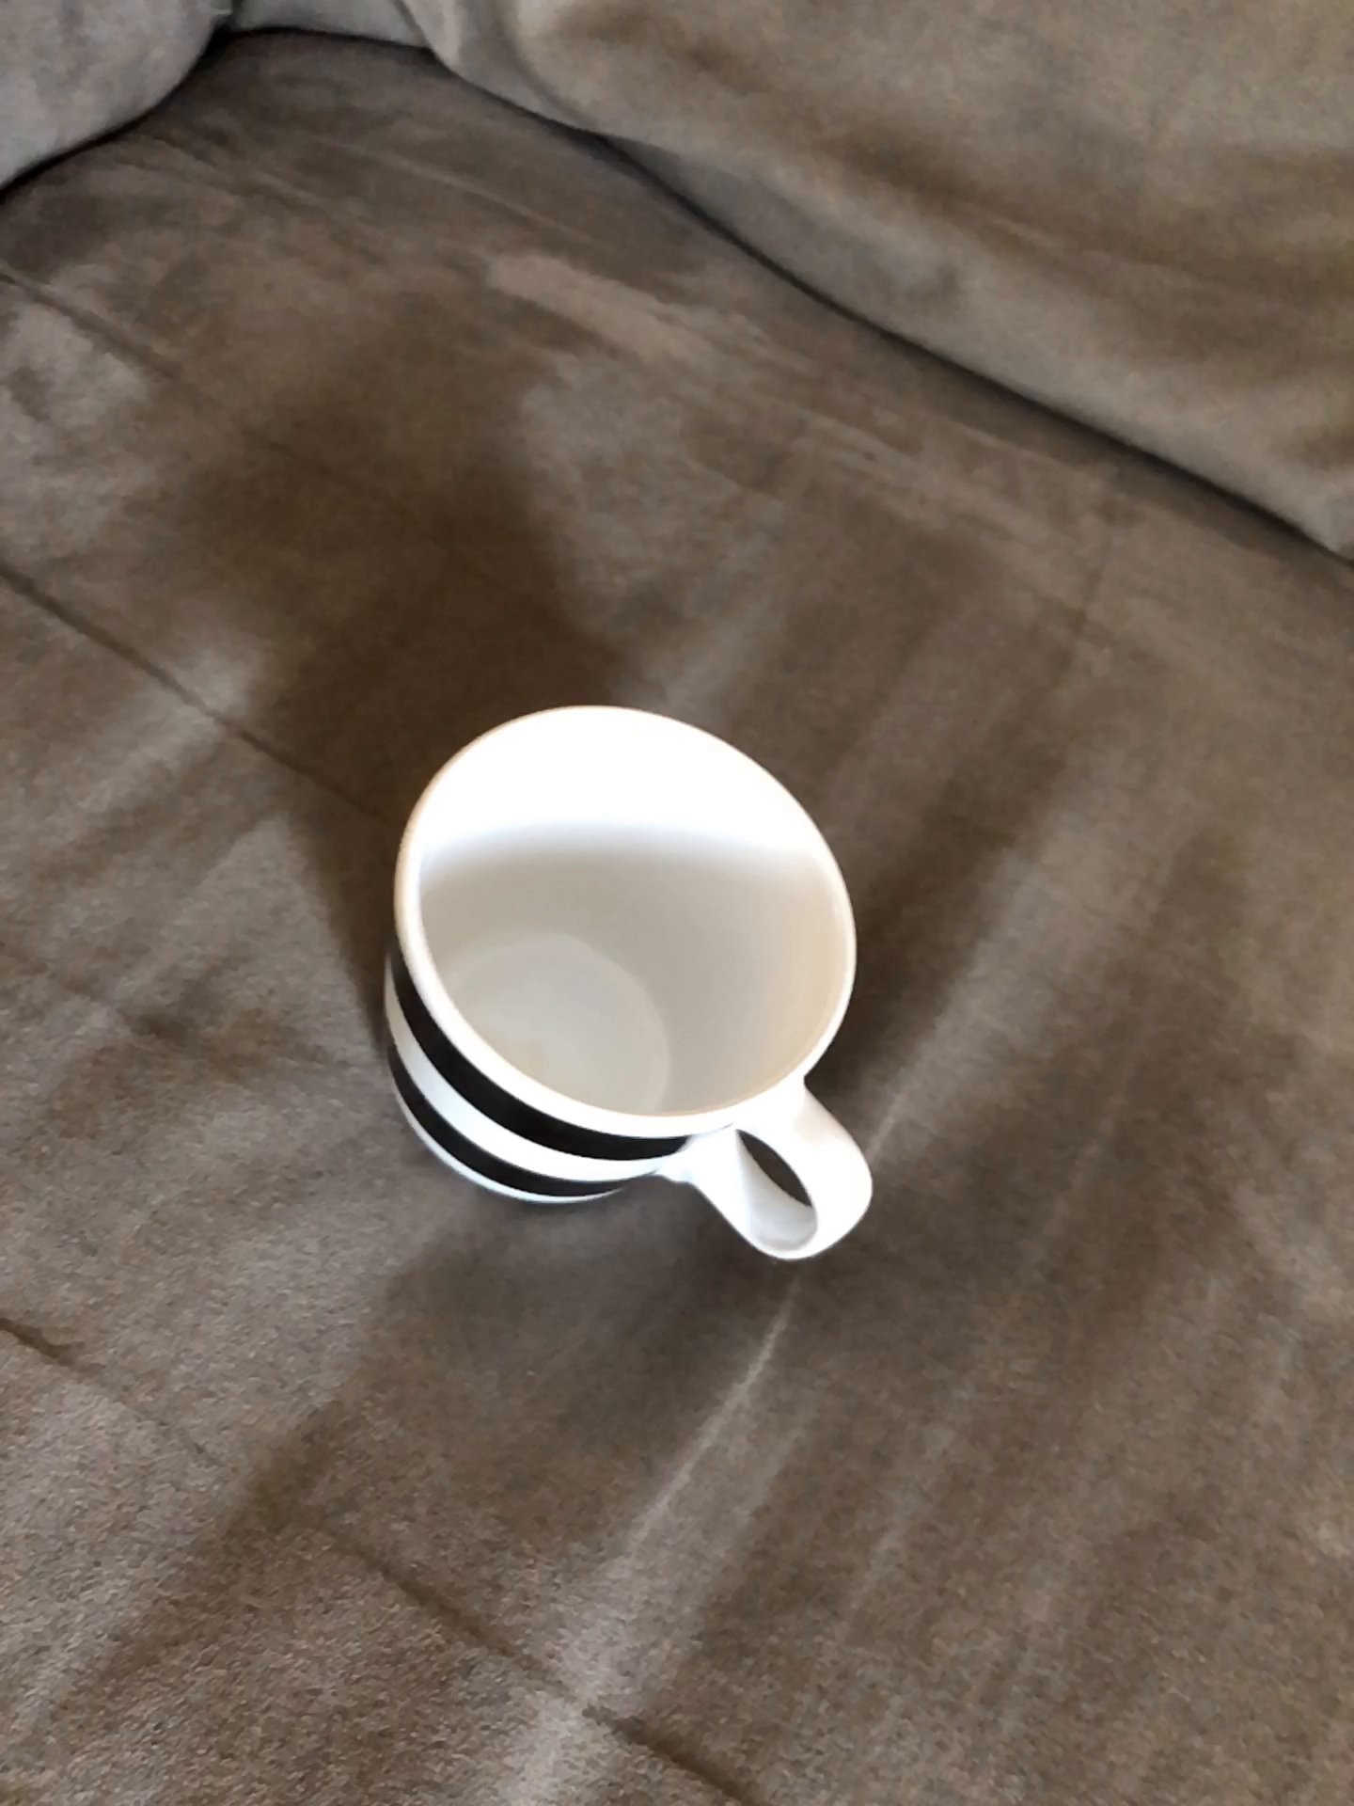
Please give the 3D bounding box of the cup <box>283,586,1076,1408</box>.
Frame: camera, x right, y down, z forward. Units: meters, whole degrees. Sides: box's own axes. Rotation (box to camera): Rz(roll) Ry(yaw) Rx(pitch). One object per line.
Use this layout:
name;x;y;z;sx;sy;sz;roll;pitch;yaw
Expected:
cup;-0.006;0.020;0.288;0.080;0.080;0.110;-37;80;-30
